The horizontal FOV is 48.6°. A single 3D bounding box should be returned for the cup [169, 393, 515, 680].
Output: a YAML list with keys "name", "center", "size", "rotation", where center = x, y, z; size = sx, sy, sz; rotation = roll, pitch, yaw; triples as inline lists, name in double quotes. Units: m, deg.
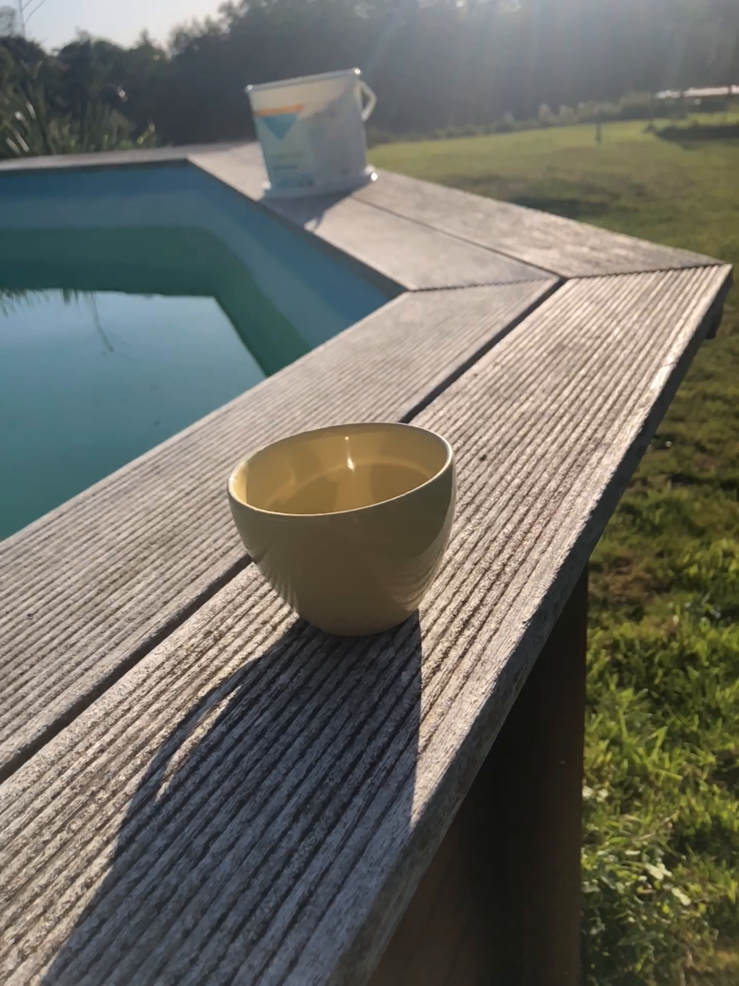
- name: "cup"
  center: [-0.014, 0.008, 0.332]
  size: [0.089, 0.053, 0.112]
  rotation: [-22, 29, -27]
